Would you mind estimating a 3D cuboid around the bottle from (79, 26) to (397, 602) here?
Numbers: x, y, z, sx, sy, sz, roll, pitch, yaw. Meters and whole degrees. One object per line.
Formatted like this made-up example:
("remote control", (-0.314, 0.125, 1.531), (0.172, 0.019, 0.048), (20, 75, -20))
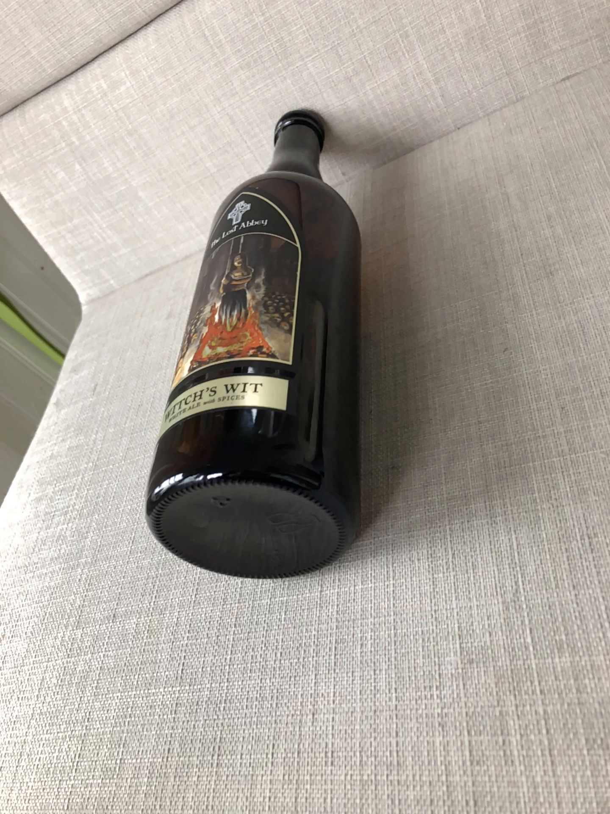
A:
("bottle", (-0.016, -0.063, 0.324), (0.080, 0.079, 0.282), (-18, 47, 24))
